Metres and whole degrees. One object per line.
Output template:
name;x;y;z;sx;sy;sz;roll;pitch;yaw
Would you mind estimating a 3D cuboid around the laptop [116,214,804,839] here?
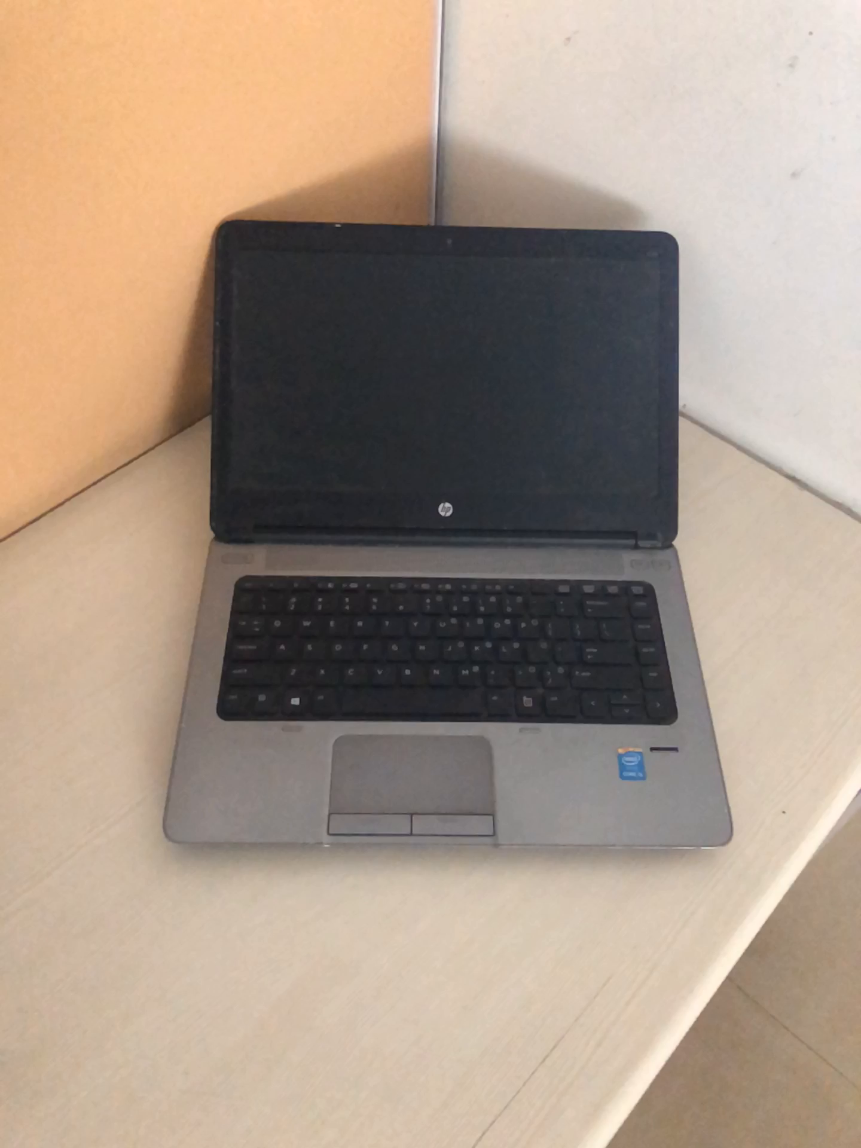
laptop;0.014;-0.050;0.598;0.316;0.125;0.393;1;54;-2
